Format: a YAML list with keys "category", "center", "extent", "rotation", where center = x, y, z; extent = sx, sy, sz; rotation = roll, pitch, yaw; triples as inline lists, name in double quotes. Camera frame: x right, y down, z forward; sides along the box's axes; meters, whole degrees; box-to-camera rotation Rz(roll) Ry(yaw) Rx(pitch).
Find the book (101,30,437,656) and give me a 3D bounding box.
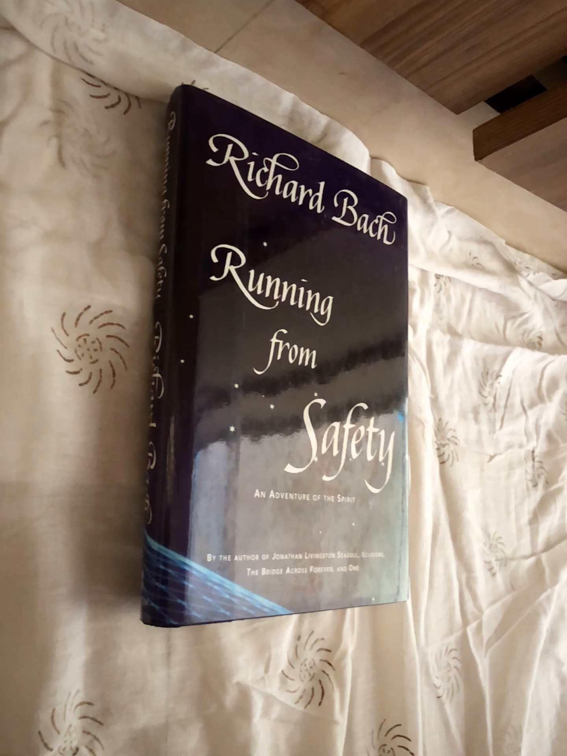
- category: "book"
  center: [0.009, -0.009, 0.312]
  extent: [0.171, 0.040, 0.250]
  rotation: [17, 68, -44]
